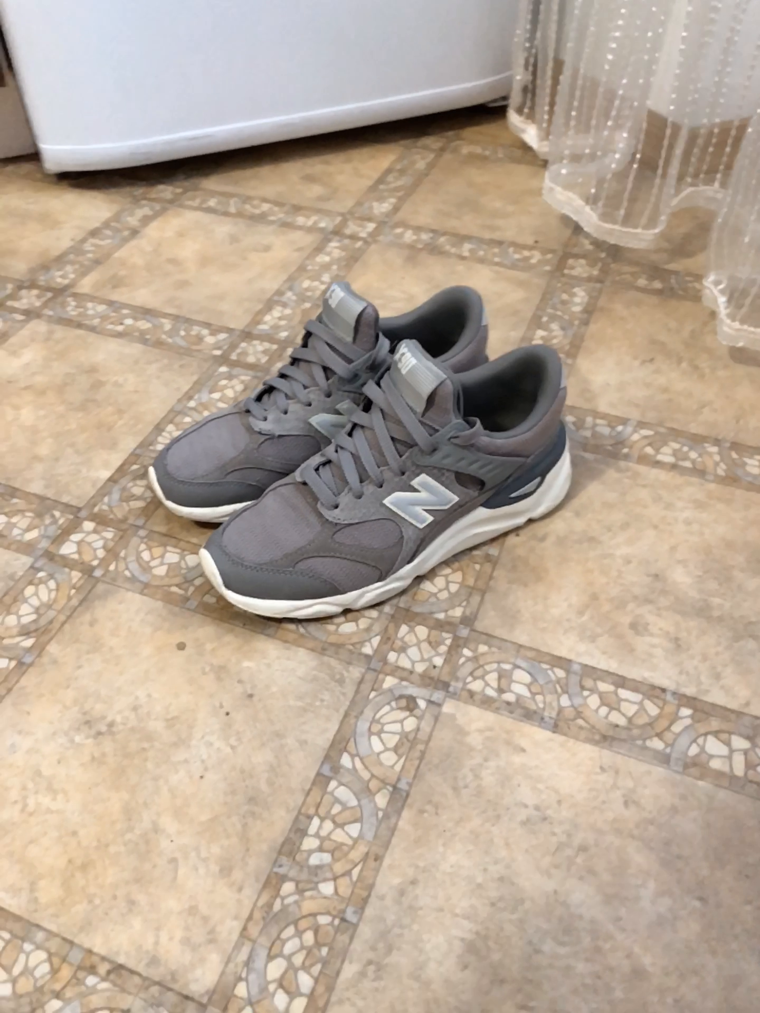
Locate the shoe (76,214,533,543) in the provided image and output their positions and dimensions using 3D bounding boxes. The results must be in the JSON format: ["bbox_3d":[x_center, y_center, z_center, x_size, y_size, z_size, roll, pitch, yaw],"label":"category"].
[{"bbox_3d":[-0.045,-0.094,0.570,0.270,0.119,0.101,-19,48,-18],"label":"shoe"}]

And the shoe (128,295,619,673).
[{"bbox_3d":[0.001,-0.022,0.527,0.270,0.119,0.101,-22,49,-20],"label":"shoe"}]
